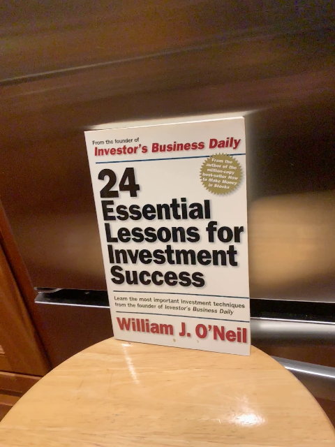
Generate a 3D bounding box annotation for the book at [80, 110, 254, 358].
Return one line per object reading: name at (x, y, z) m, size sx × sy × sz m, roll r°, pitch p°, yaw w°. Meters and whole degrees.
book at (0.004, 0.015, 0.344) m, size 0.150 × 0.229 × 0.030 m, roll 0°, pitch 16°, yaw 20°
